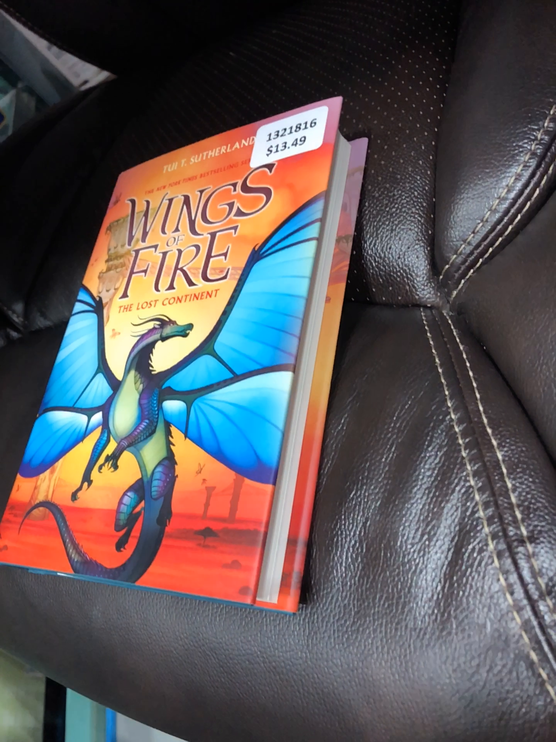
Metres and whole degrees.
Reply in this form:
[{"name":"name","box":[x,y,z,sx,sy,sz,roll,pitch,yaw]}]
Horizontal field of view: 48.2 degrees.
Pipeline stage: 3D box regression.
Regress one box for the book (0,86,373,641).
[{"name":"book","box":[-0.044,-0.011,0.276,0.148,0.030,0.218,-5,63,34]}]
